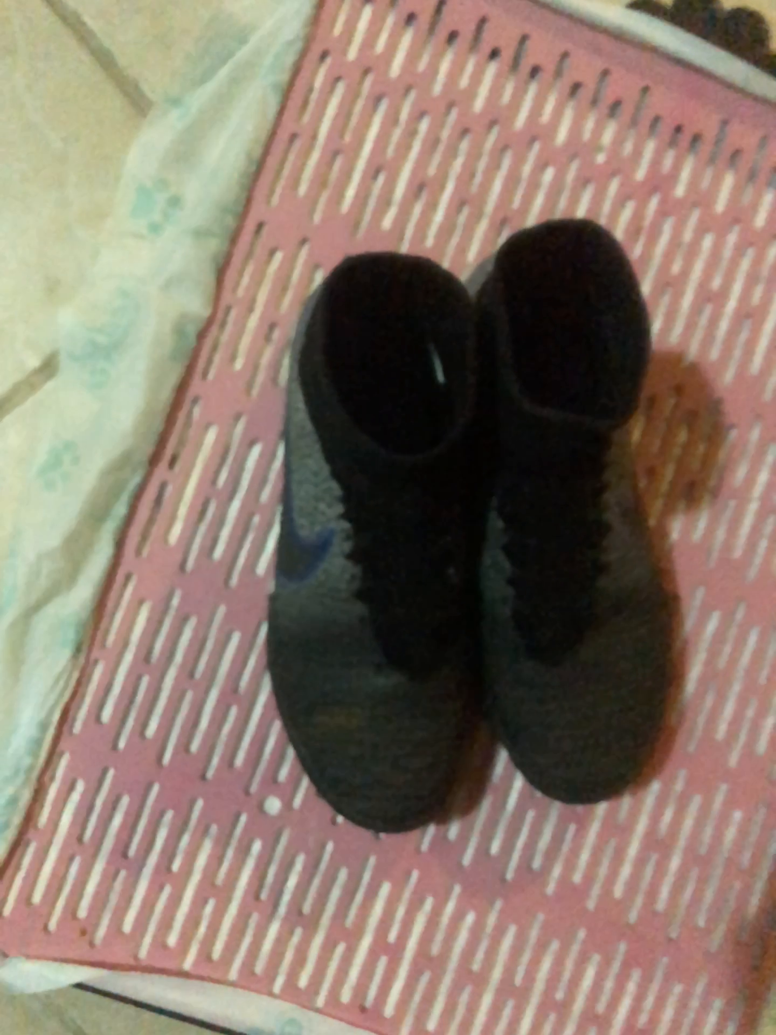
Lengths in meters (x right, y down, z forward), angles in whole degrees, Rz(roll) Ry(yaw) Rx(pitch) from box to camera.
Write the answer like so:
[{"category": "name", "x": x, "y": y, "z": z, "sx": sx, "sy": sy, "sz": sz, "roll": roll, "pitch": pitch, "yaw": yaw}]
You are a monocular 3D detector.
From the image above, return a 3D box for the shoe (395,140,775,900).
[{"category": "shoe", "x": 0.082, "y": 0.000, "z": 0.389, "sx": 0.100, "sy": 0.150, "sz": 0.260, "roll": -11, "pitch": 90, "yaw": -5}]

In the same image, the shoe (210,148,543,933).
[{"category": "shoe", "x": -0.010, "y": 0.007, "z": 0.382, "sx": 0.100, "sy": 0.150, "sz": 0.270, "roll": -4, "pitch": 89, "yaw": -5}]
